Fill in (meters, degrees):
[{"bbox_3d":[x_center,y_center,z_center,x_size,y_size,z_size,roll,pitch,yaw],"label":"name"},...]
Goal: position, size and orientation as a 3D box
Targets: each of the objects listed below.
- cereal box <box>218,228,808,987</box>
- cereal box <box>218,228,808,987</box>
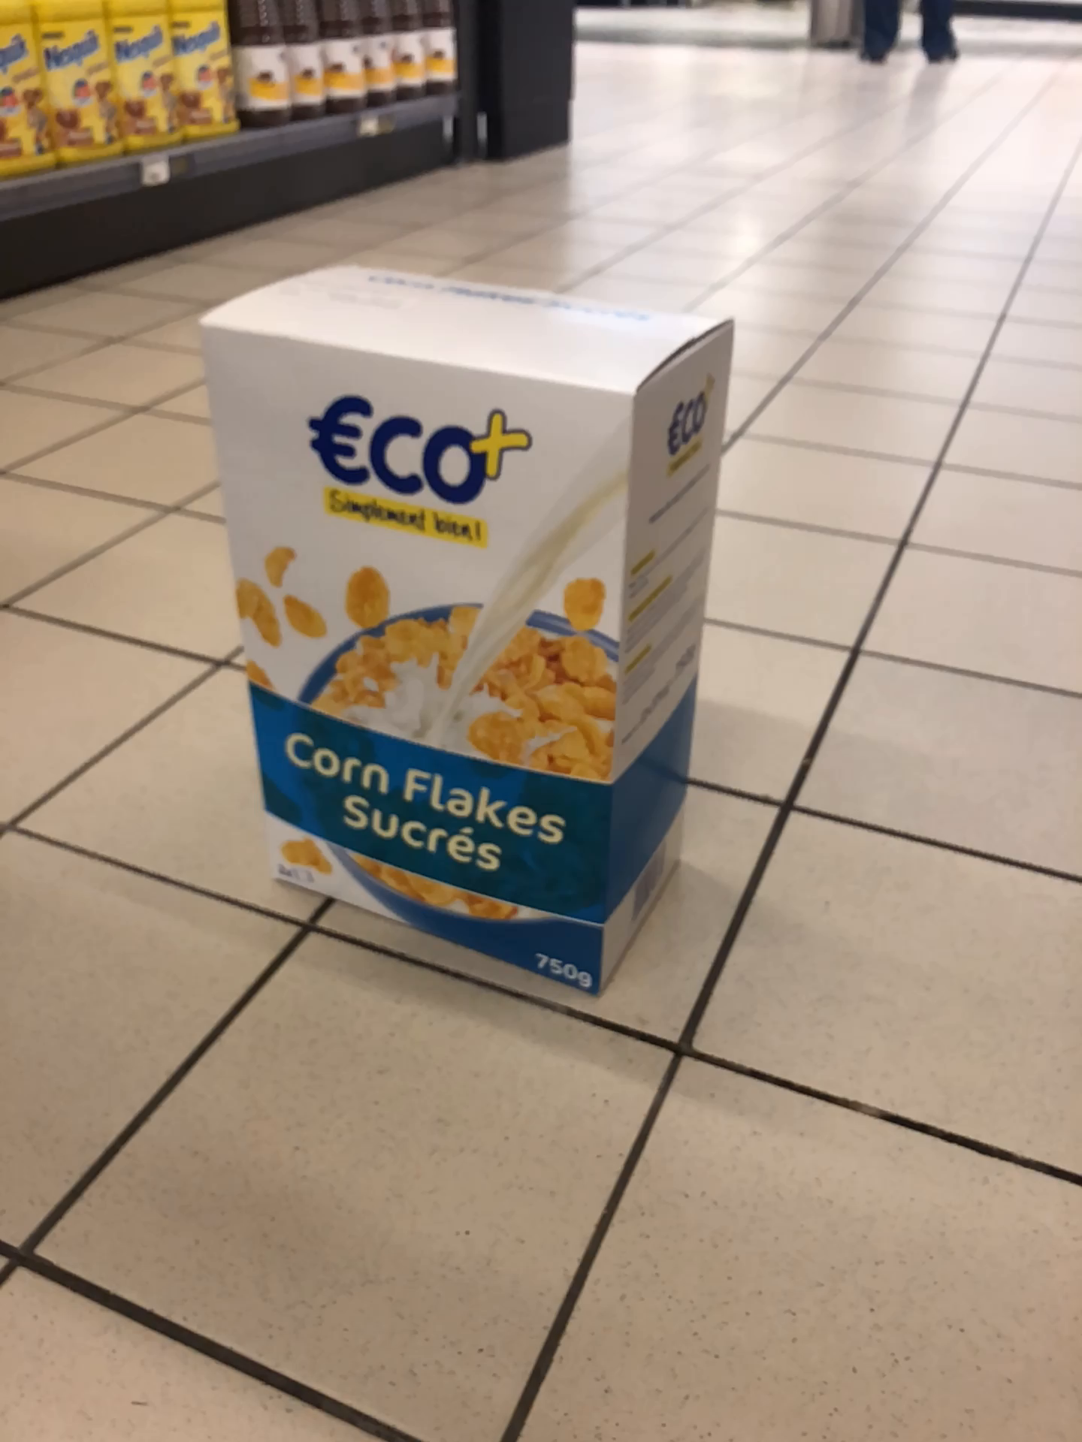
[{"bbox_3d":[-0.012,-0.059,0.580,0.210,0.298,0.131,15,33,22],"label":"cereal box"},{"bbox_3d":[-0.012,-0.059,0.580,0.210,0.298,0.131,15,33,22],"label":"cereal box"}]
